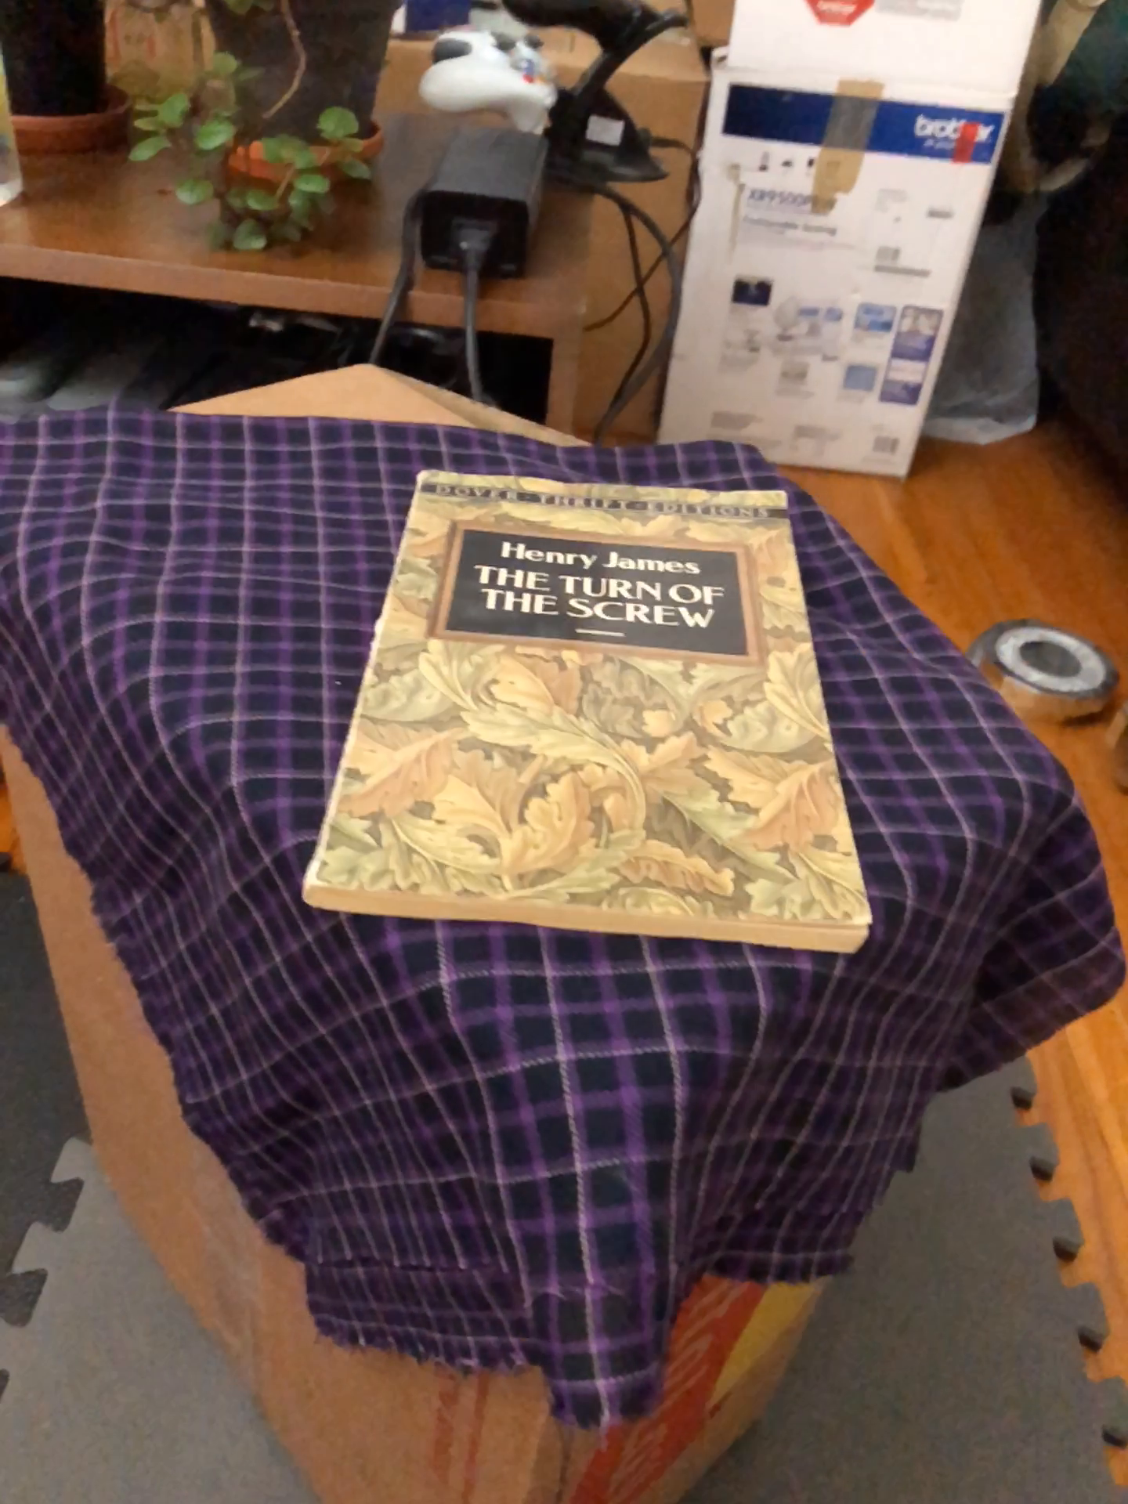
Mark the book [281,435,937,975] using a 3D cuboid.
[{"bbox_3d":[0.013,-0.031,0.354,0.140,0.010,0.221,5,39,-2],"label":"book"}]
